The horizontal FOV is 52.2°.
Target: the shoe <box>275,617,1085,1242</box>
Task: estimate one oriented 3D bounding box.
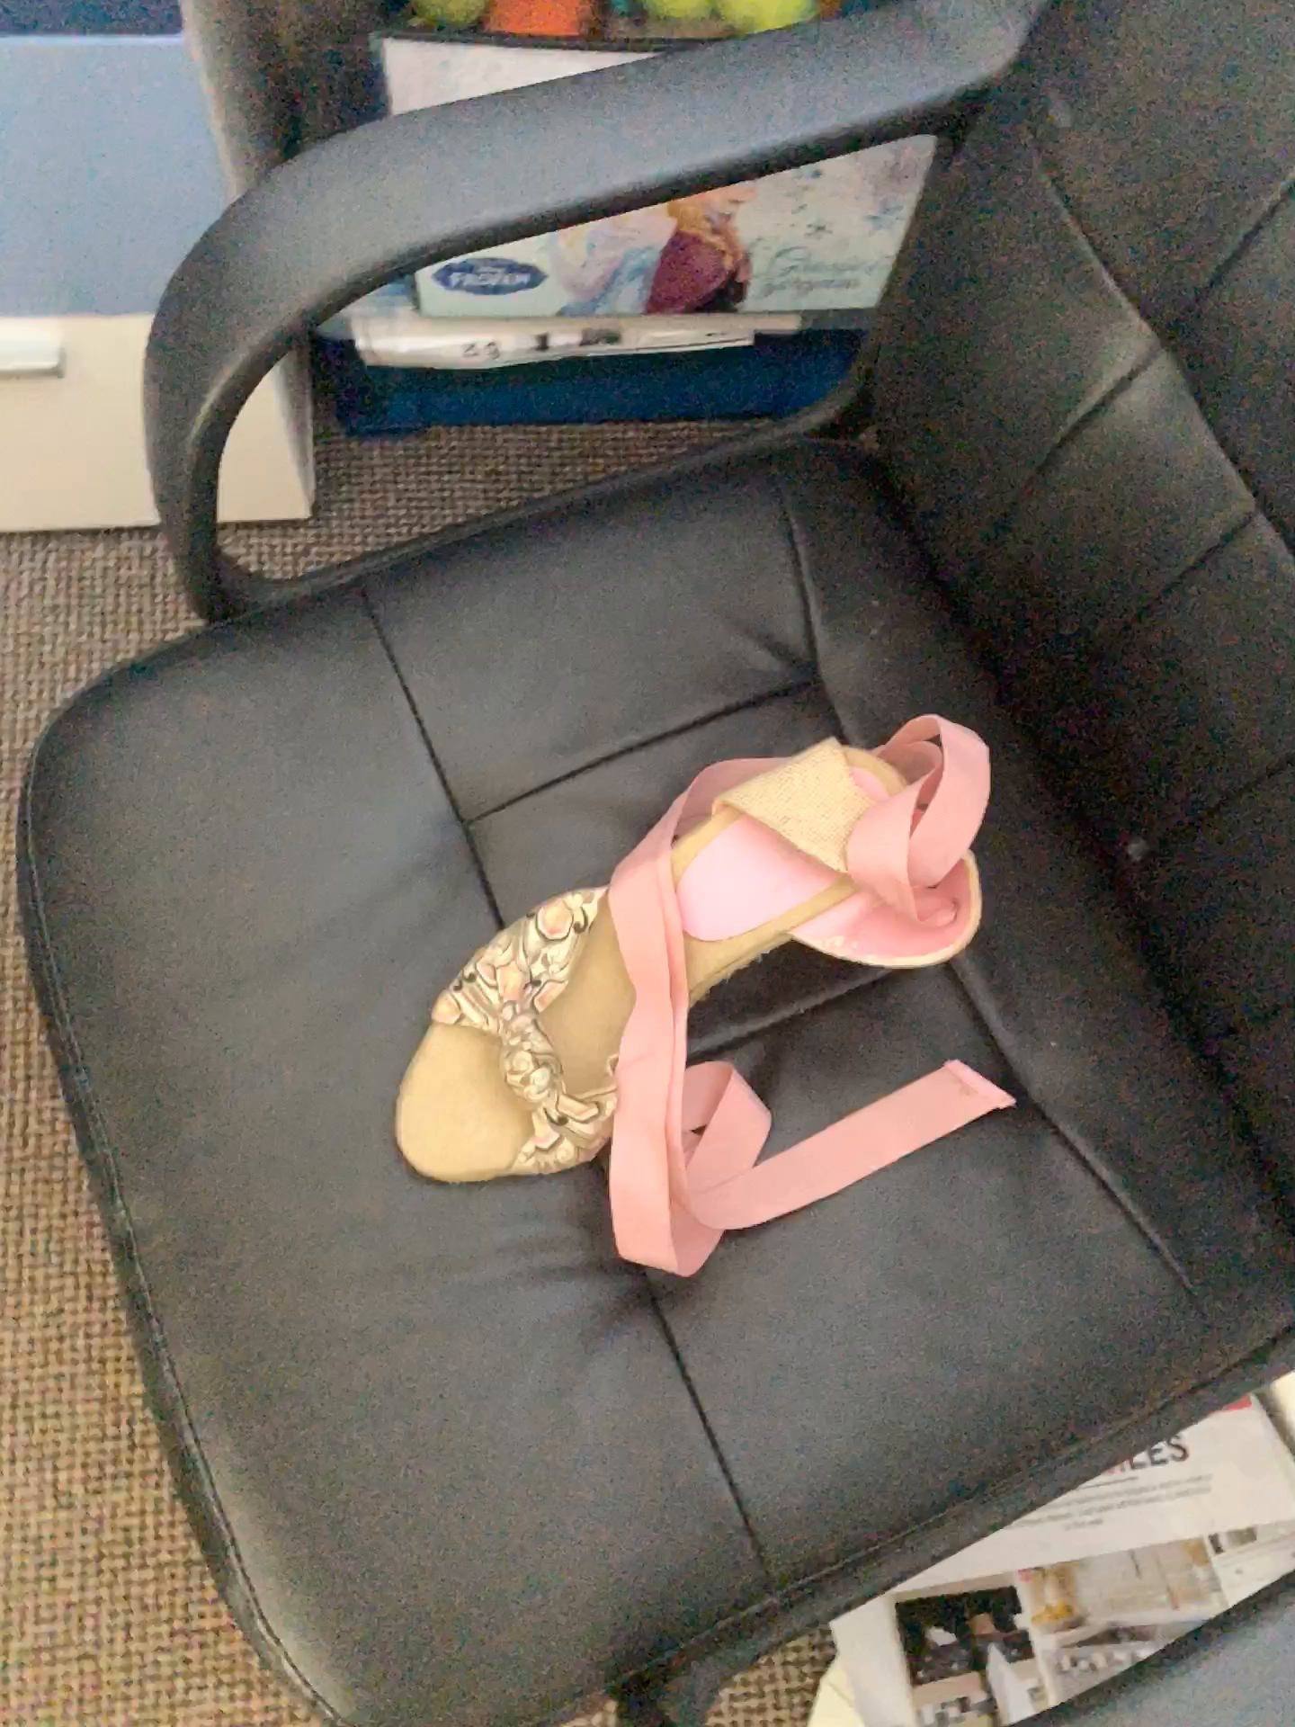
[{"bbox_3d":[0.011,0.033,0.525,0.270,0.140,0.100,-29,78,-13],"label":"shoe"}]
